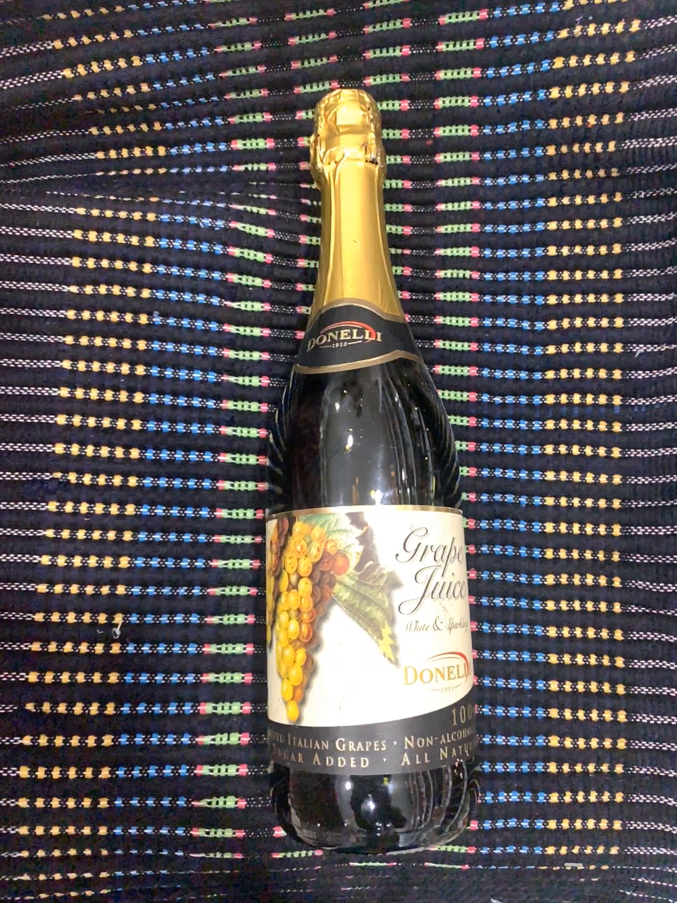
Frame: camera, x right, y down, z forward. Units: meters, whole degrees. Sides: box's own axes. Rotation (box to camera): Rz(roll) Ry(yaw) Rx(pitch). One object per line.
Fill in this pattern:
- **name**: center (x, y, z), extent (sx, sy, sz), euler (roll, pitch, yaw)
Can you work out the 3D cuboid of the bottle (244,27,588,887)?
- **bottle**: center (0.013, -0.013, 0.281), extent (0.090, 0.080, 0.300), euler (1, 72, -13)
